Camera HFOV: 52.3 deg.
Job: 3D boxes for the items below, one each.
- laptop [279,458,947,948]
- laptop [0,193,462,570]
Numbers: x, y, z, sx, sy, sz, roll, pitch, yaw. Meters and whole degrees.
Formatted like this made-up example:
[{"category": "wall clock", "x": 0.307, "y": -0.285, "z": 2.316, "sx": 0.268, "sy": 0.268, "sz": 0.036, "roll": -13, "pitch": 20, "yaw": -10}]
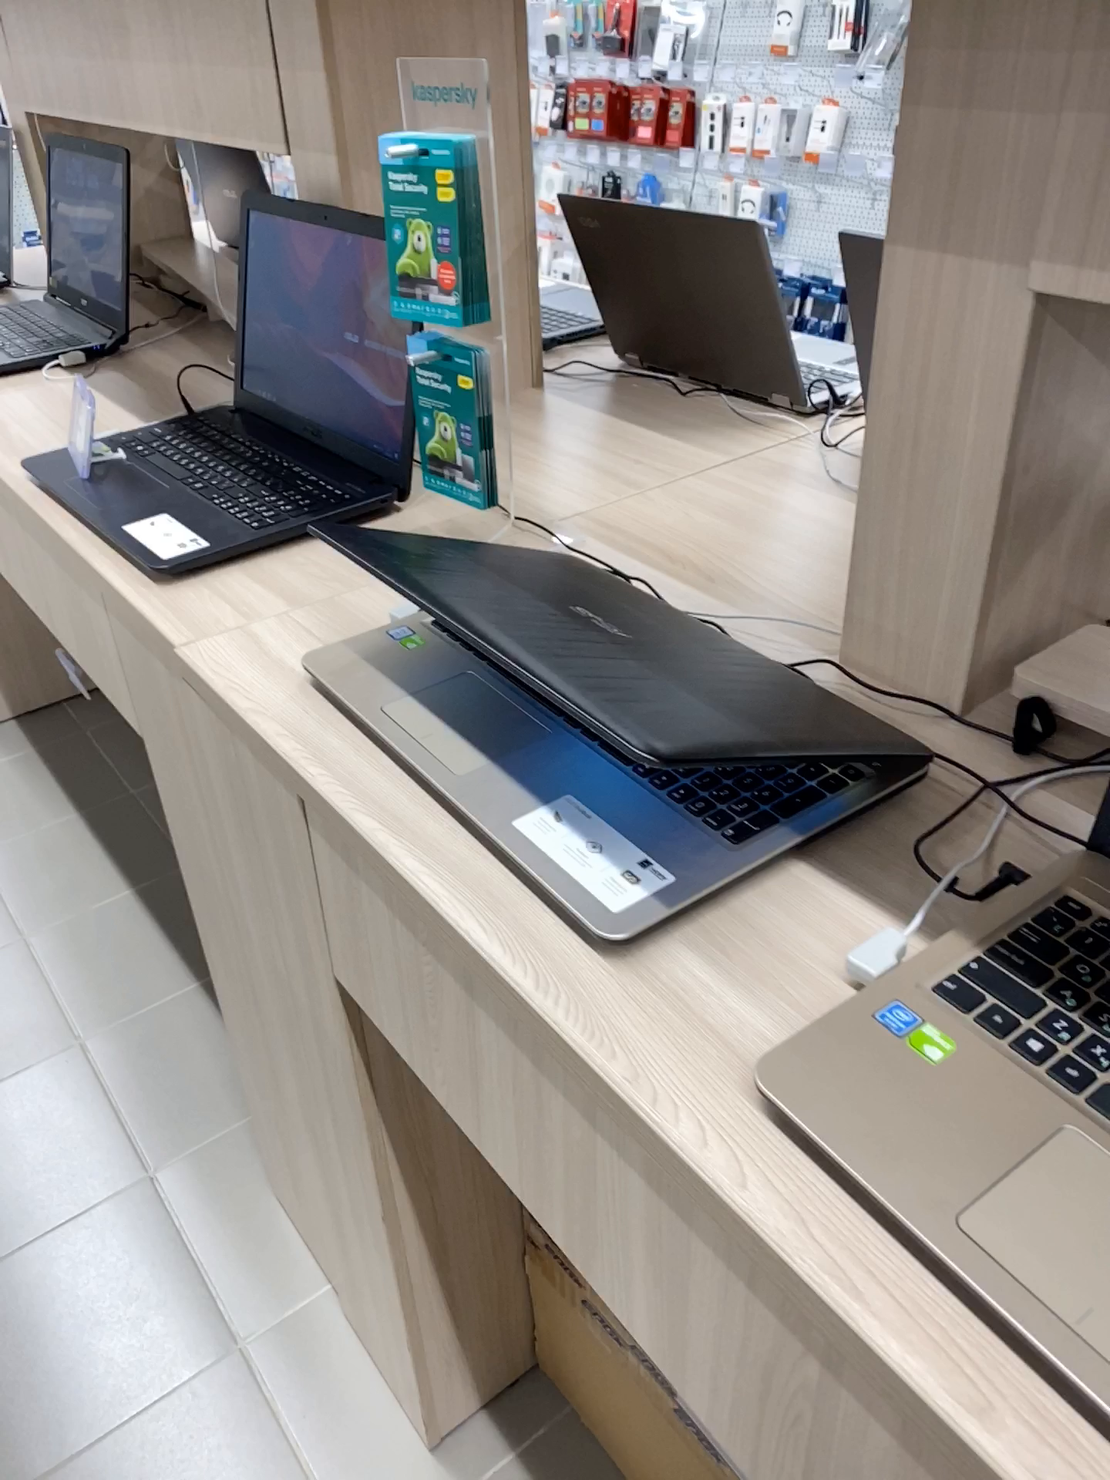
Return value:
[{"category": "laptop", "x": 0.015, "y": -0.059, "z": 0.743, "sx": 0.240, "sy": 0.094, "sz": 0.384, "roll": -24, "pitch": 39, "yaw": -27}, {"category": "laptop", "x": -0.352, "y": -0.388, "z": 1.143, "sx": 0.317, "sy": 0.235, "sz": 0.422, "roll": -24, "pitch": 38, "yaw": -29}]
